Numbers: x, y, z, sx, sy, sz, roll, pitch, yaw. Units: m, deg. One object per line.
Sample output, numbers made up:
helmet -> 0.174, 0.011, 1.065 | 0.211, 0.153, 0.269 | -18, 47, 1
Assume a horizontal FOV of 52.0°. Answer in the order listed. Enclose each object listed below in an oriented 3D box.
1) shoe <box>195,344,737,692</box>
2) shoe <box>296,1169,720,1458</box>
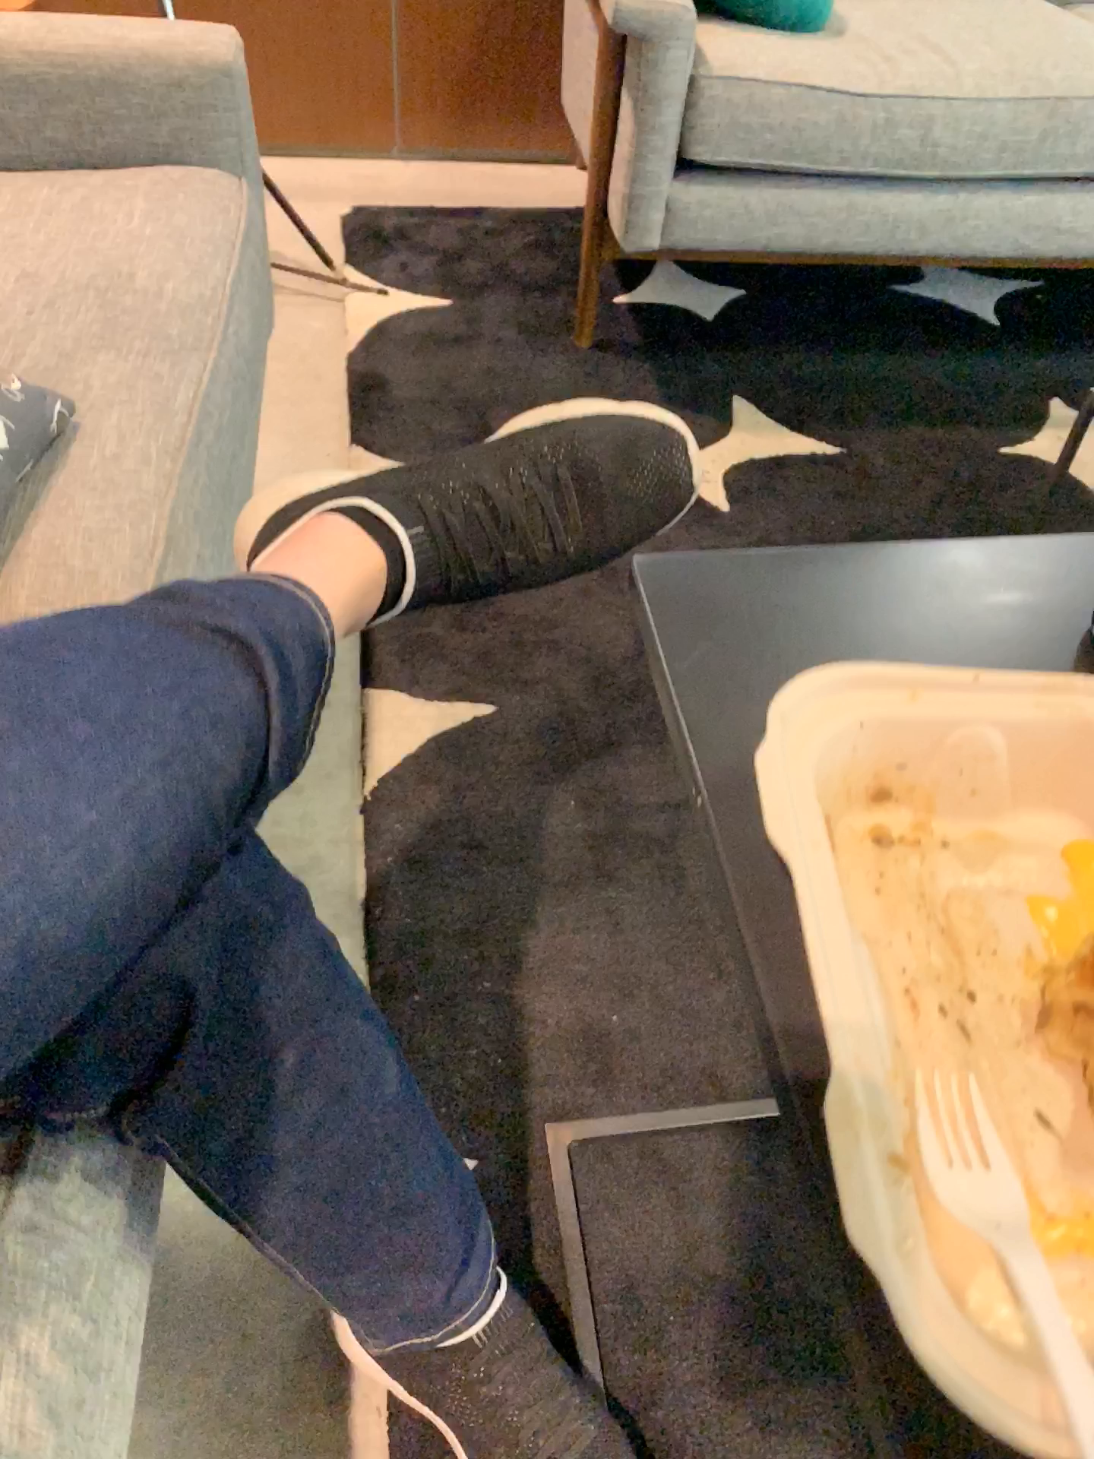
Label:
shoe -> -0.042, -0.128, 0.665 | 0.276, 0.112, 0.133 | -11, 32, 3
shoe -> -0.037, 0.474, 0.778 | 0.116, 0.074, 0.304 | -31, 57, -29
